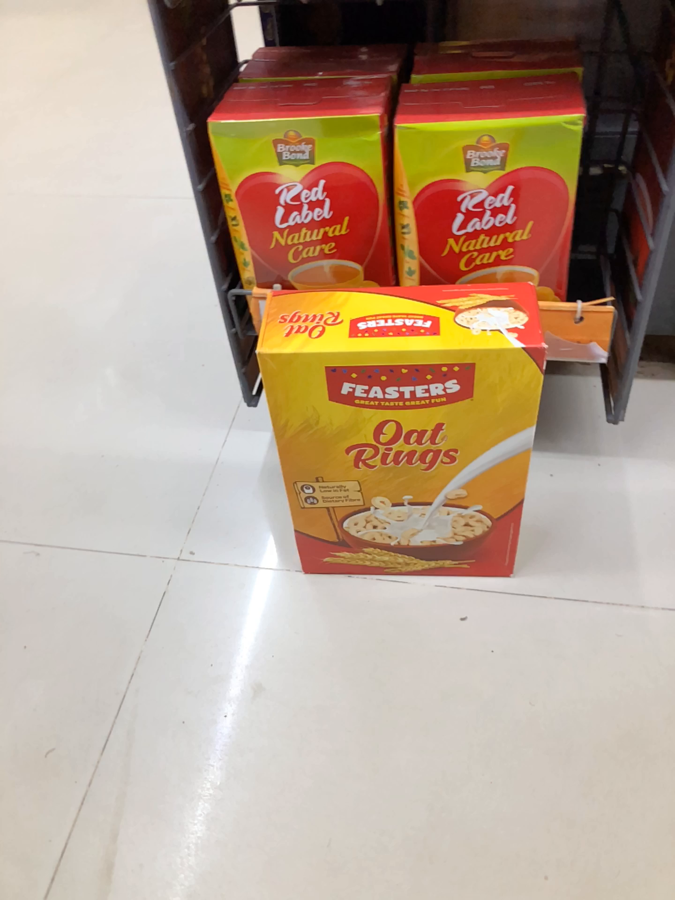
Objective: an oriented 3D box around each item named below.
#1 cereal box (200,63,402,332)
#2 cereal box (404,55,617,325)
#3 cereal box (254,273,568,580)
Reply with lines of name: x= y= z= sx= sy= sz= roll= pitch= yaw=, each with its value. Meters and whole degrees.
cereal box: x=-0.017 y=-0.182 z=0.557 sx=0.120 sy=0.169 sz=0.081 roll=3 pitch=46 yaw=9
cereal box: x=0.107 y=-0.172 z=0.509 sx=0.120 sy=0.149 sz=0.081 roll=-1 pitch=46 yaw=6
cereal box: x=0.049 y=-0.004 z=0.508 sx=0.170 sy=0.219 sz=0.070 roll=0 pitch=46 yaw=6
